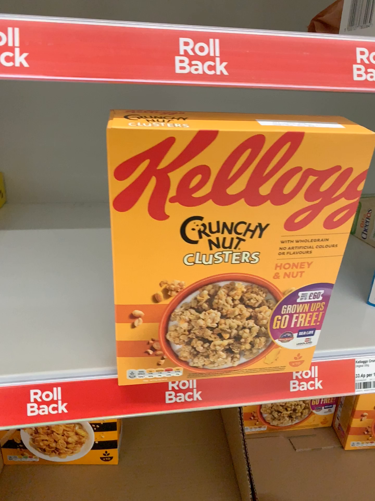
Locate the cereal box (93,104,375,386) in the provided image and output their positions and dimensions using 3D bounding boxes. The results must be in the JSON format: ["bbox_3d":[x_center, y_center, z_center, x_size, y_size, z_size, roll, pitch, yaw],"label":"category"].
[{"bbox_3d":[0.029,0.003,0.333,0.200,0.228,0.061,-2,29,-10],"label":"cereal box"}]
